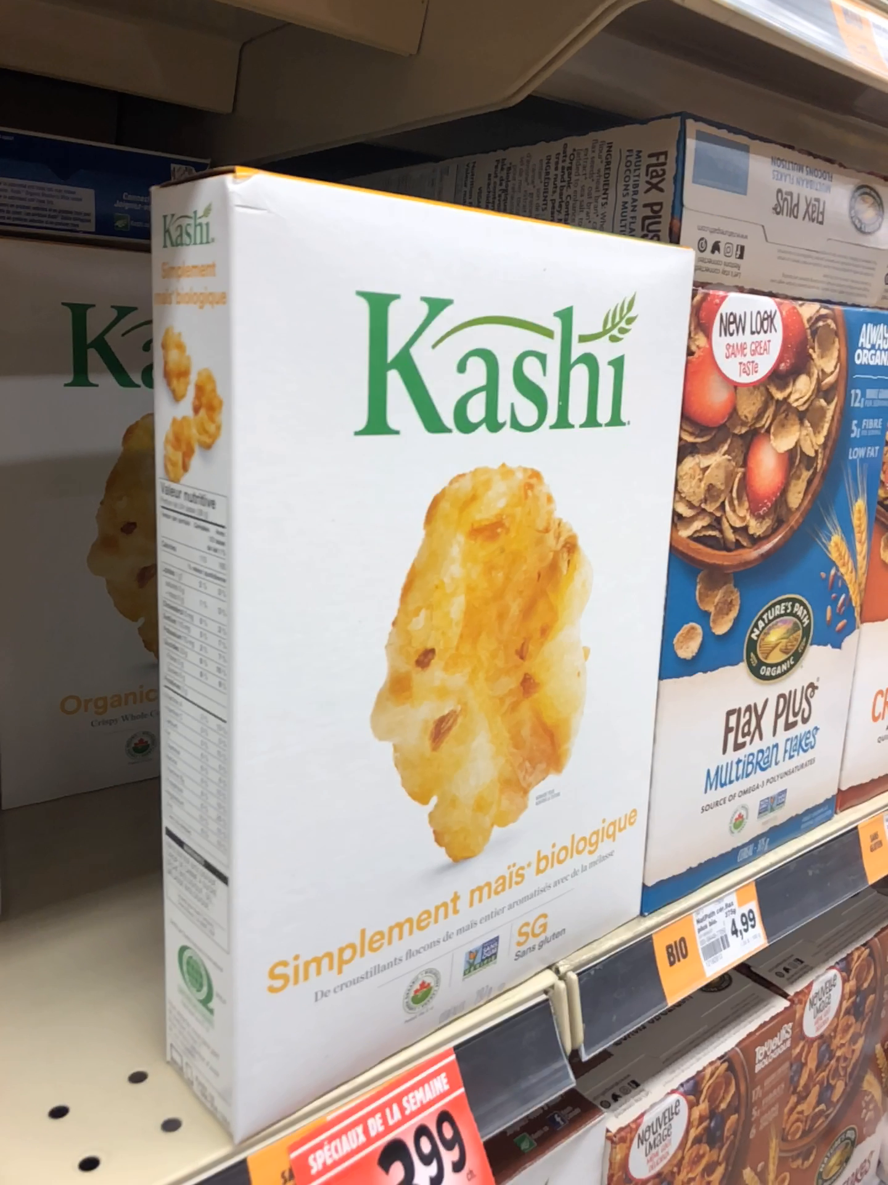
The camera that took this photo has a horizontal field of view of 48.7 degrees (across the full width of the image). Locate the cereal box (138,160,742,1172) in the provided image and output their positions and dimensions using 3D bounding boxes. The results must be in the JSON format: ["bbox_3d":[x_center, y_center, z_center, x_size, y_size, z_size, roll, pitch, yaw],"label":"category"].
[{"bbox_3d":[0.006,0.015,0.337,0.200,0.269,0.060,-9,18,-42],"label":"cereal box"}]
